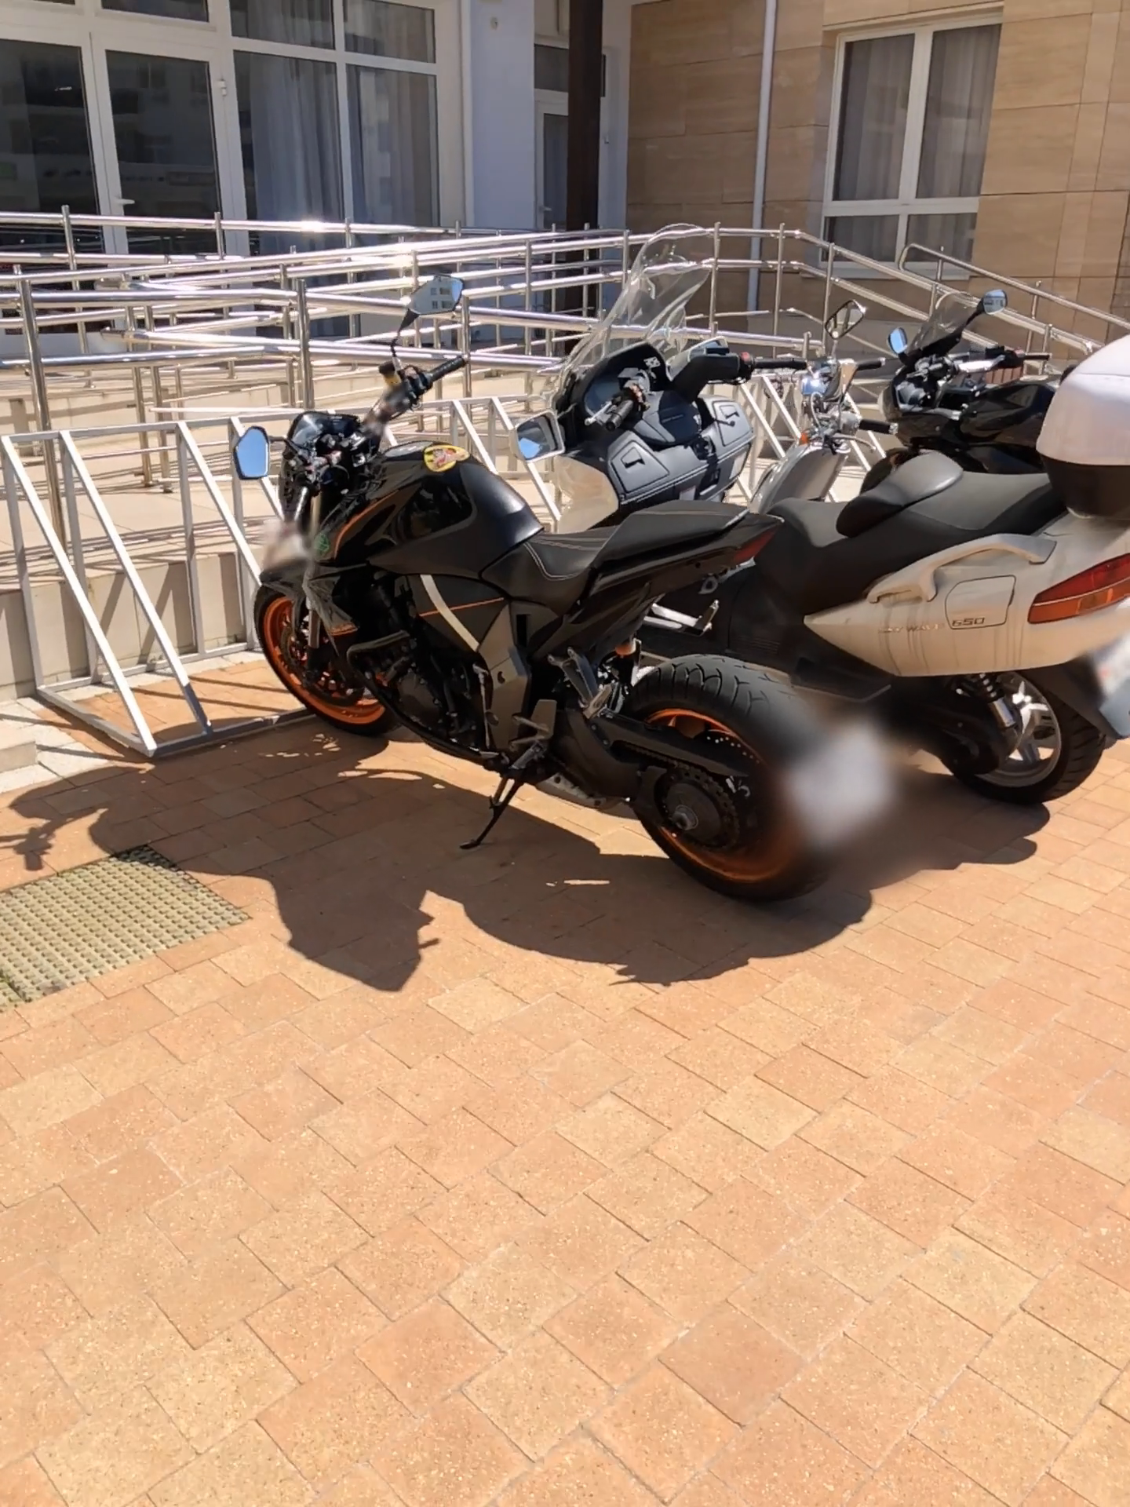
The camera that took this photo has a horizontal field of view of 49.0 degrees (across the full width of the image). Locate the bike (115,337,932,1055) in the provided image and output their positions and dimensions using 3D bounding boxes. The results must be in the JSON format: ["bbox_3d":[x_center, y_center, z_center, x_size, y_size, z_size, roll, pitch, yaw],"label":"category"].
[{"bbox_3d":[-0.217,-0.348,3.065,1.953,1.170,0.798,20,28,40],"label":"bike"}]
